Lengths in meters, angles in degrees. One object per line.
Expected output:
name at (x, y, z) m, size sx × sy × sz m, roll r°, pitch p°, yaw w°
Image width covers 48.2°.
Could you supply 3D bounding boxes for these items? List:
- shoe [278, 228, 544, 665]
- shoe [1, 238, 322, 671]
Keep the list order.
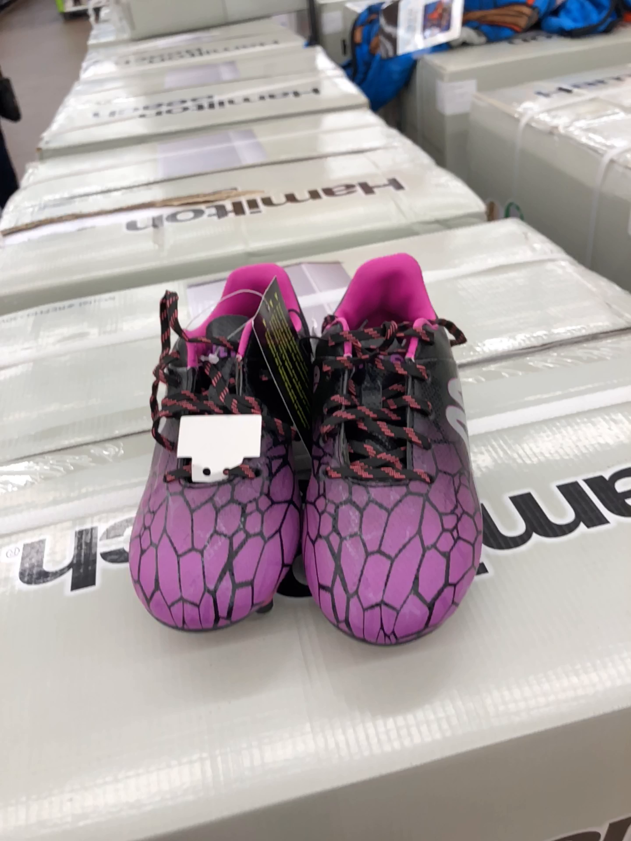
shoe at (0.038, -0.006, 0.321) m, size 0.080 × 0.080 × 0.211 m, roll -3°, pitch 37°, yaw 6°
shoe at (-0.048, -0.002, 0.325) m, size 0.080 × 0.080 × 0.211 m, roll -3°, pitch 37°, yaw 7°
